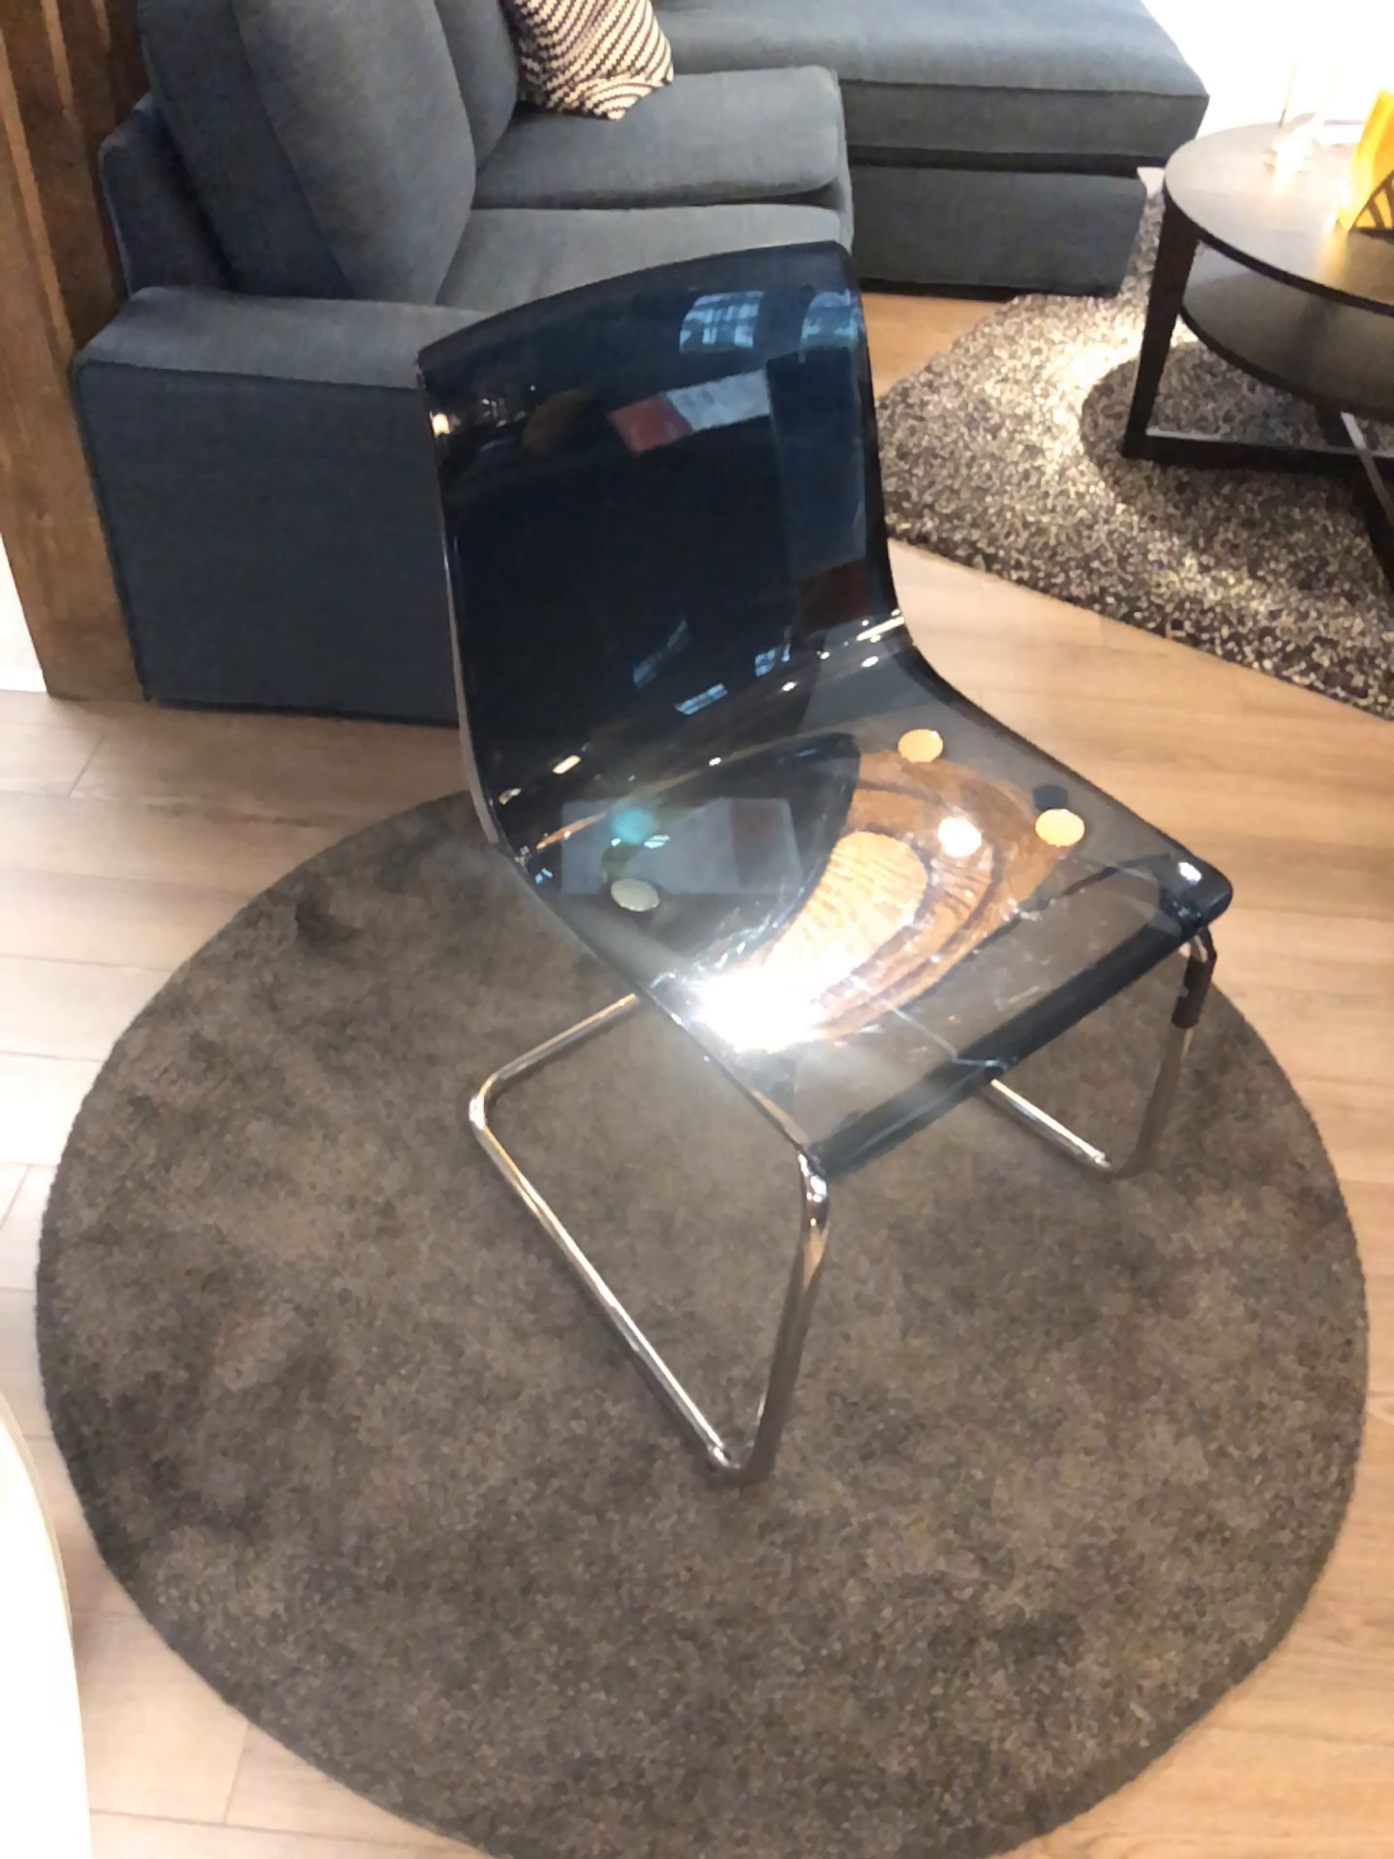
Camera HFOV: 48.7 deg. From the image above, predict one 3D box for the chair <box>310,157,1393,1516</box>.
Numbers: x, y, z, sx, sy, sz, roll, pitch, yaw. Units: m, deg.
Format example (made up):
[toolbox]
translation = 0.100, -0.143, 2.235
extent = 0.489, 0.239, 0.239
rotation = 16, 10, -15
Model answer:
[chair]
translation = 0.111, -0.070, 1.304
extent = 0.581, 0.867, 0.501
rotation = -29, 53, -30
